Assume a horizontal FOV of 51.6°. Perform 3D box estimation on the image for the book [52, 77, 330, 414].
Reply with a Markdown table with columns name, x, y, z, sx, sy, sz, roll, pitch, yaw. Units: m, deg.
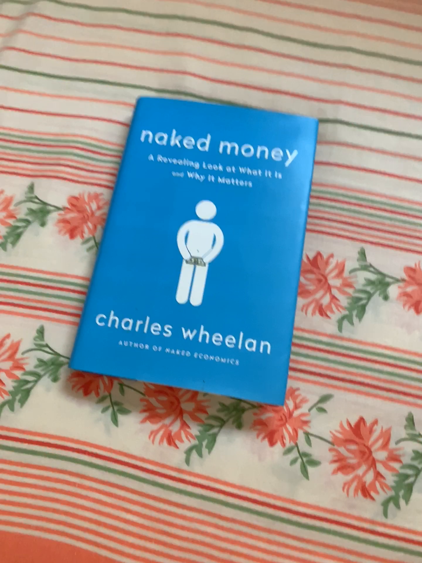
| name | x | y | z | sx | sy | sz | roll | pitch | yaw |
| --- | --- | --- | --- | --- | --- | --- | --- | --- | --- |
| book | -0.005 | -0.038 | 0.351 | 0.170 | 0.040 | 0.251 | 9 | 73 | 3 |
